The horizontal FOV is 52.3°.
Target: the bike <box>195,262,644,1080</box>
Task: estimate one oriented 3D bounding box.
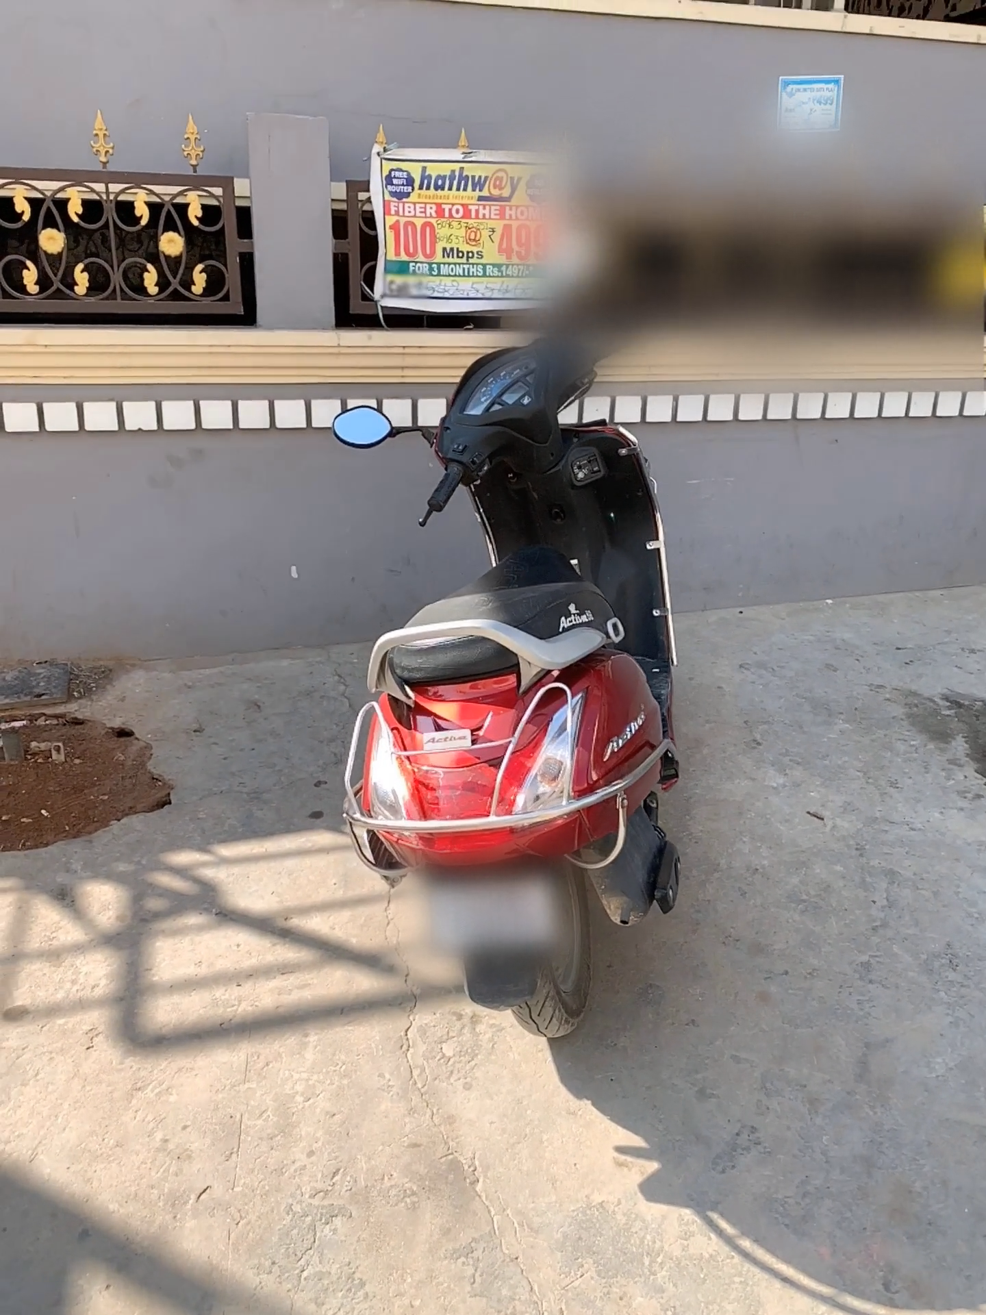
[{"bbox_3d":[-0.057,-0.232,2.352,0.622,1.164,1.762,3,24,4],"label":"bike"}]
